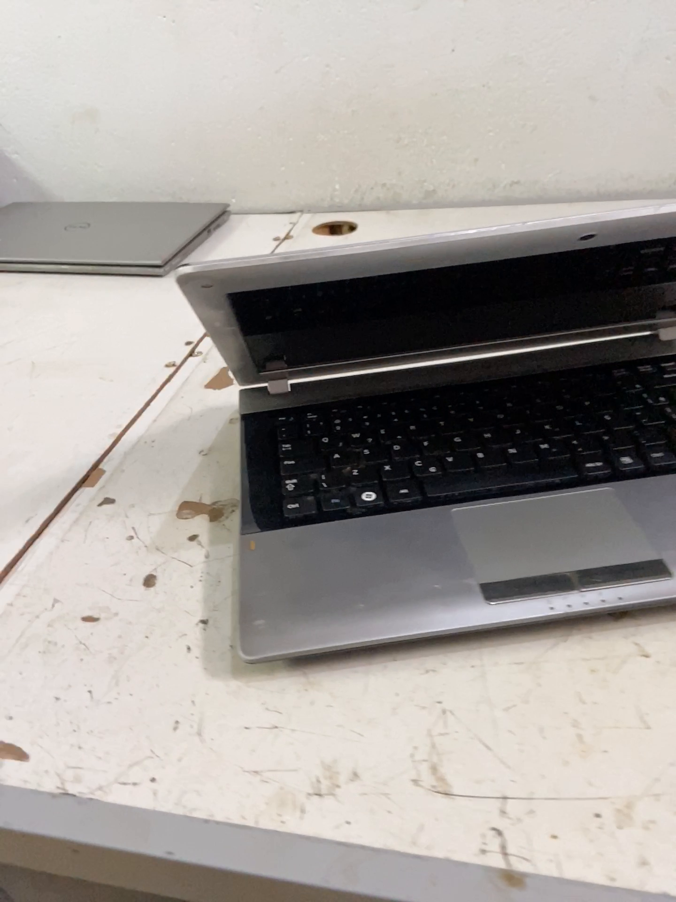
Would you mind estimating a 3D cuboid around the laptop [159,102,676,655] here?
[{"bbox_3d":[0.106,-0.063,0.370,0.344,0.150,0.234,-8,35,-3],"label":"laptop"}]
